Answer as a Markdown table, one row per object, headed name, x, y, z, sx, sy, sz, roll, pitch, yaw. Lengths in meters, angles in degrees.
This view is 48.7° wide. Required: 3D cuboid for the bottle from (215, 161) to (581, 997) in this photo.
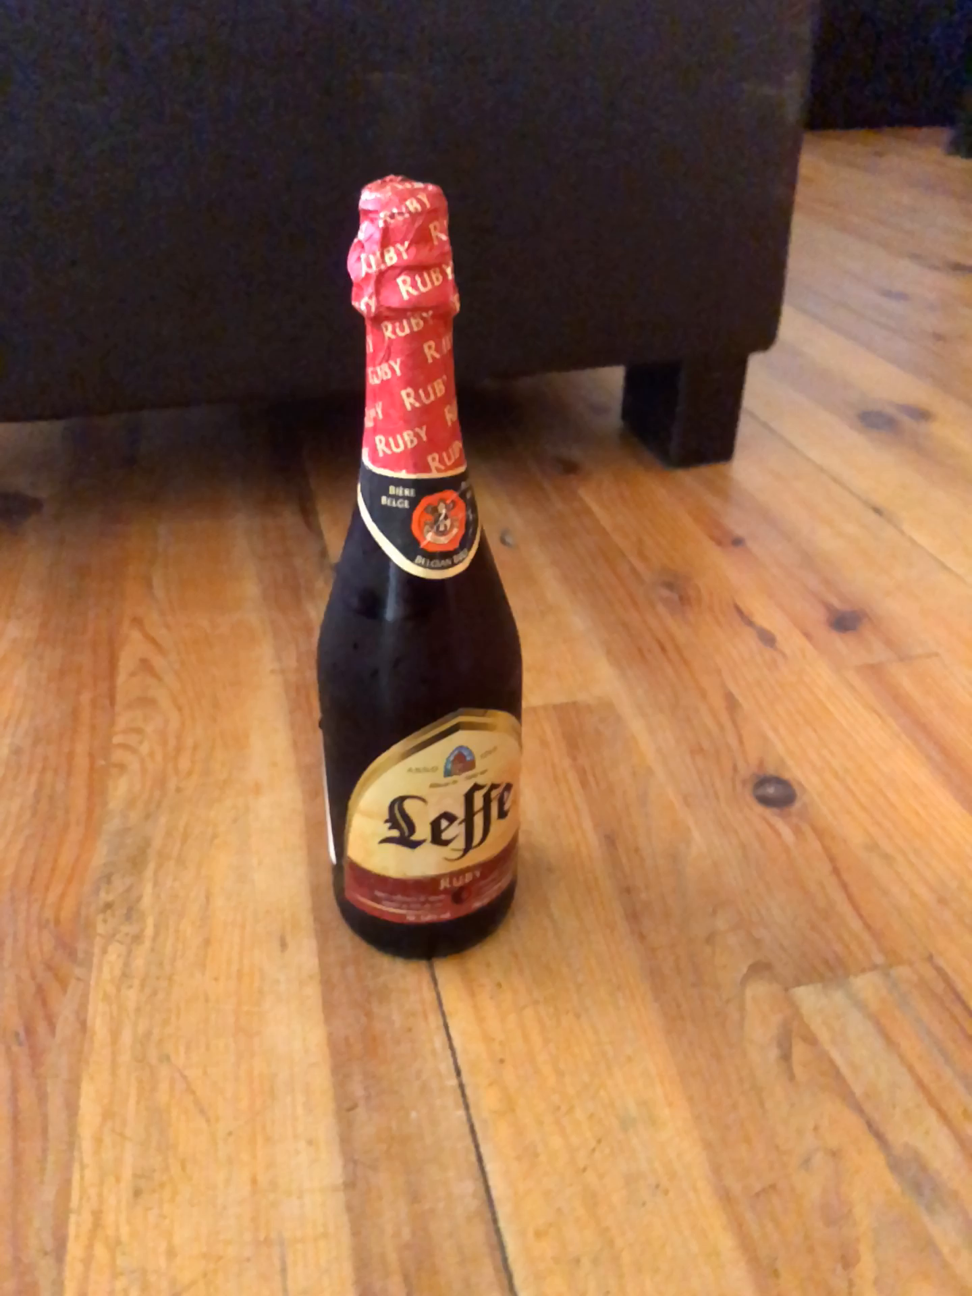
| name | x | y | z | sx | sy | sz | roll | pitch | yaw |
| --- | --- | --- | --- | --- | --- | --- | --- | --- | --- |
| bottle | -0.029 | -0.015 | 0.398 | 0.090 | 0.288 | 0.090 | 0 | 32 | 0 |
